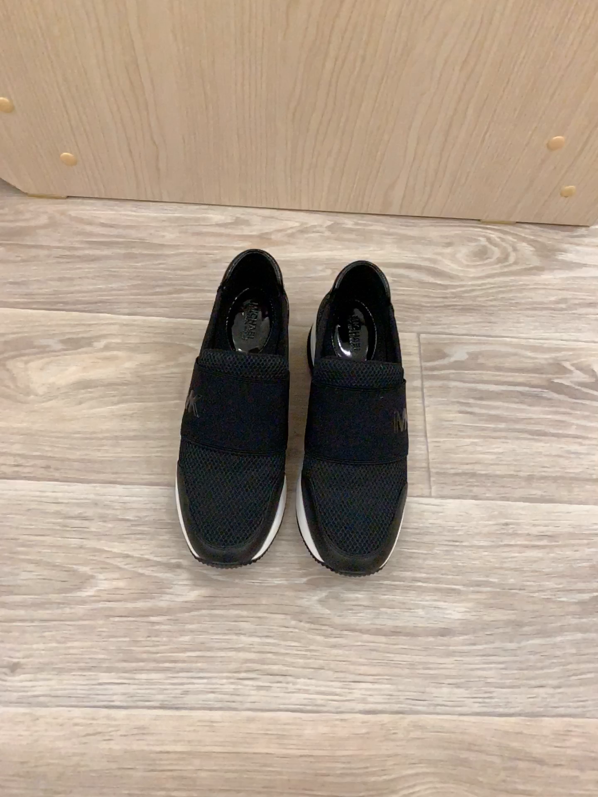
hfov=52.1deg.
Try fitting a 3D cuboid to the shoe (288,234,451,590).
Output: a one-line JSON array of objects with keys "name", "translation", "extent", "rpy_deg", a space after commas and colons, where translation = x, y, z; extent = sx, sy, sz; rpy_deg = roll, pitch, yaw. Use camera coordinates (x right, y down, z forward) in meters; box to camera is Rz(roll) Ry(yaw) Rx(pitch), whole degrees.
[{"name": "shoe", "translation": [0.048, 0.011, 0.501], "extent": [0.098, 0.120, 0.261], "rpy_deg": [3, 64, -3]}]

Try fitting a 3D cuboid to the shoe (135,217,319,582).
[{"name": "shoe", "translation": [-0.048, 0.001, 0.495], "extent": [0.098, 0.120, 0.261], "rpy_deg": [6, 64, -2]}]
